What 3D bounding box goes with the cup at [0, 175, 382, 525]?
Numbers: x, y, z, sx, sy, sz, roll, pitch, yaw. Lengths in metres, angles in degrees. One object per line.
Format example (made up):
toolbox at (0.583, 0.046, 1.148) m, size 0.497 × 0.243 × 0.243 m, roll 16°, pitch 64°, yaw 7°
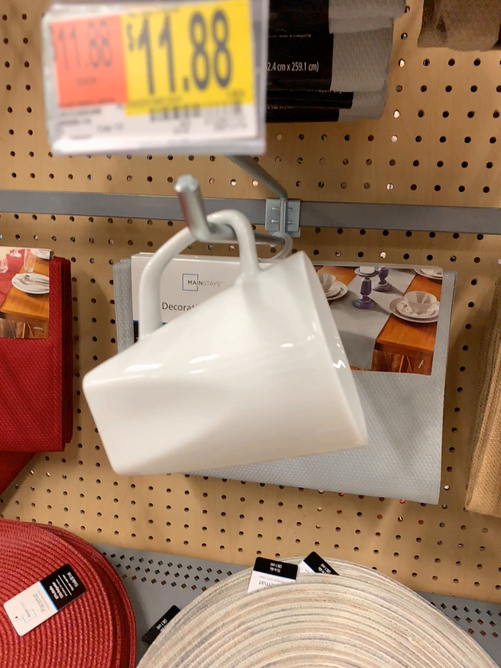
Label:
cup at (-0.021, 0.005, 0.242) m, size 0.140 × 0.120 × 0.090 m, roll -9°, pitch 11°, yaw 13°
